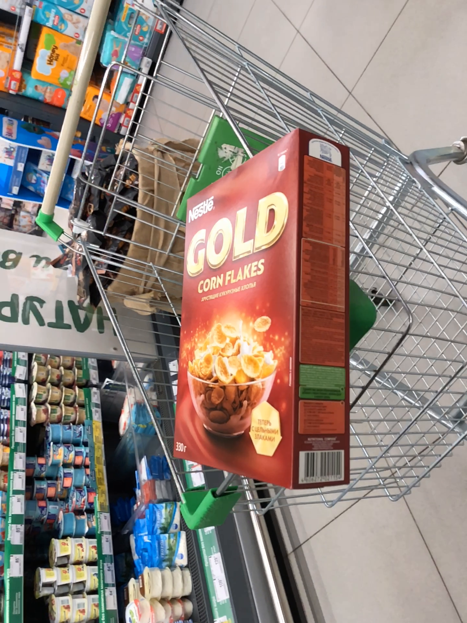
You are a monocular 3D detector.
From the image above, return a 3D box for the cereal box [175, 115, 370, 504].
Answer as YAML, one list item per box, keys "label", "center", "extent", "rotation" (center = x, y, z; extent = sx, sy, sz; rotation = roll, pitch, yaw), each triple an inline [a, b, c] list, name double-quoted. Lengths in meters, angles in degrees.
- label: "cereal box"
  center: [0.025, 0.005, 0.469]
  extent: [0.211, 0.060, 0.280]
  rotation: [-12, 73, 59]
